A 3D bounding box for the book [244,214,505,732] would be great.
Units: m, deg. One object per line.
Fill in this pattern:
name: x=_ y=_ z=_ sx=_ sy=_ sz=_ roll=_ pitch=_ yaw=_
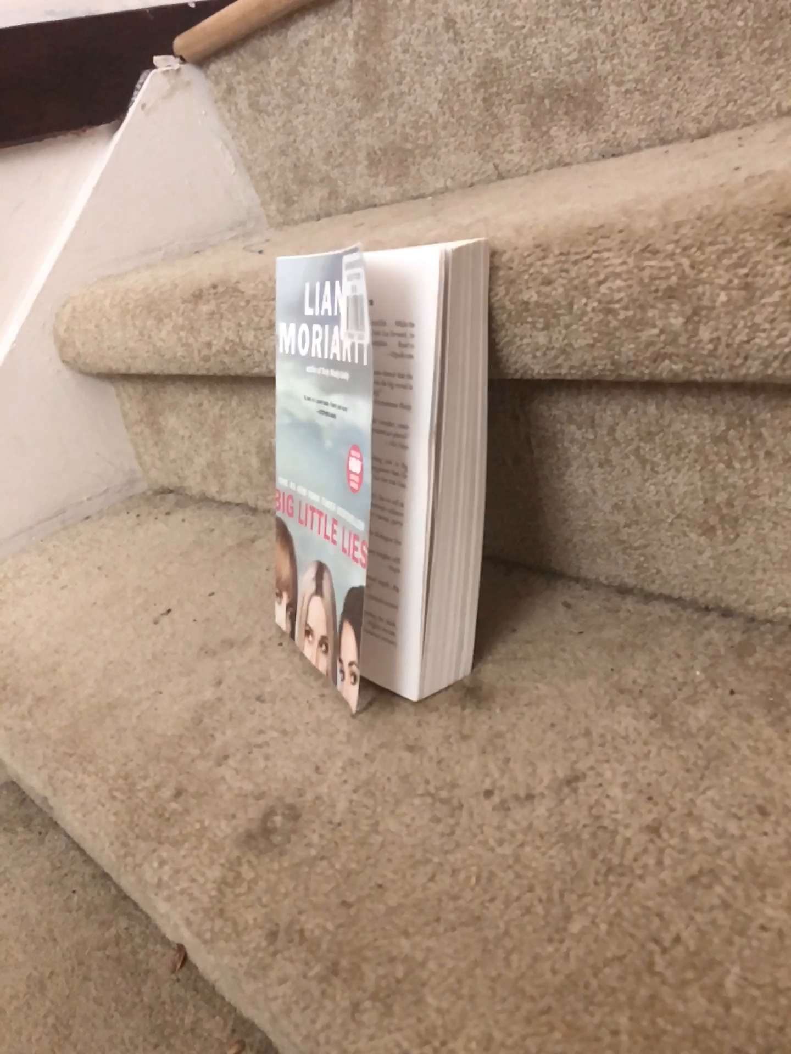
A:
book: x=-0.022 y=-0.034 z=0.426 sx=0.050 sy=0.209 sz=0.161 roll=-5 pitch=15 yaw=-30
